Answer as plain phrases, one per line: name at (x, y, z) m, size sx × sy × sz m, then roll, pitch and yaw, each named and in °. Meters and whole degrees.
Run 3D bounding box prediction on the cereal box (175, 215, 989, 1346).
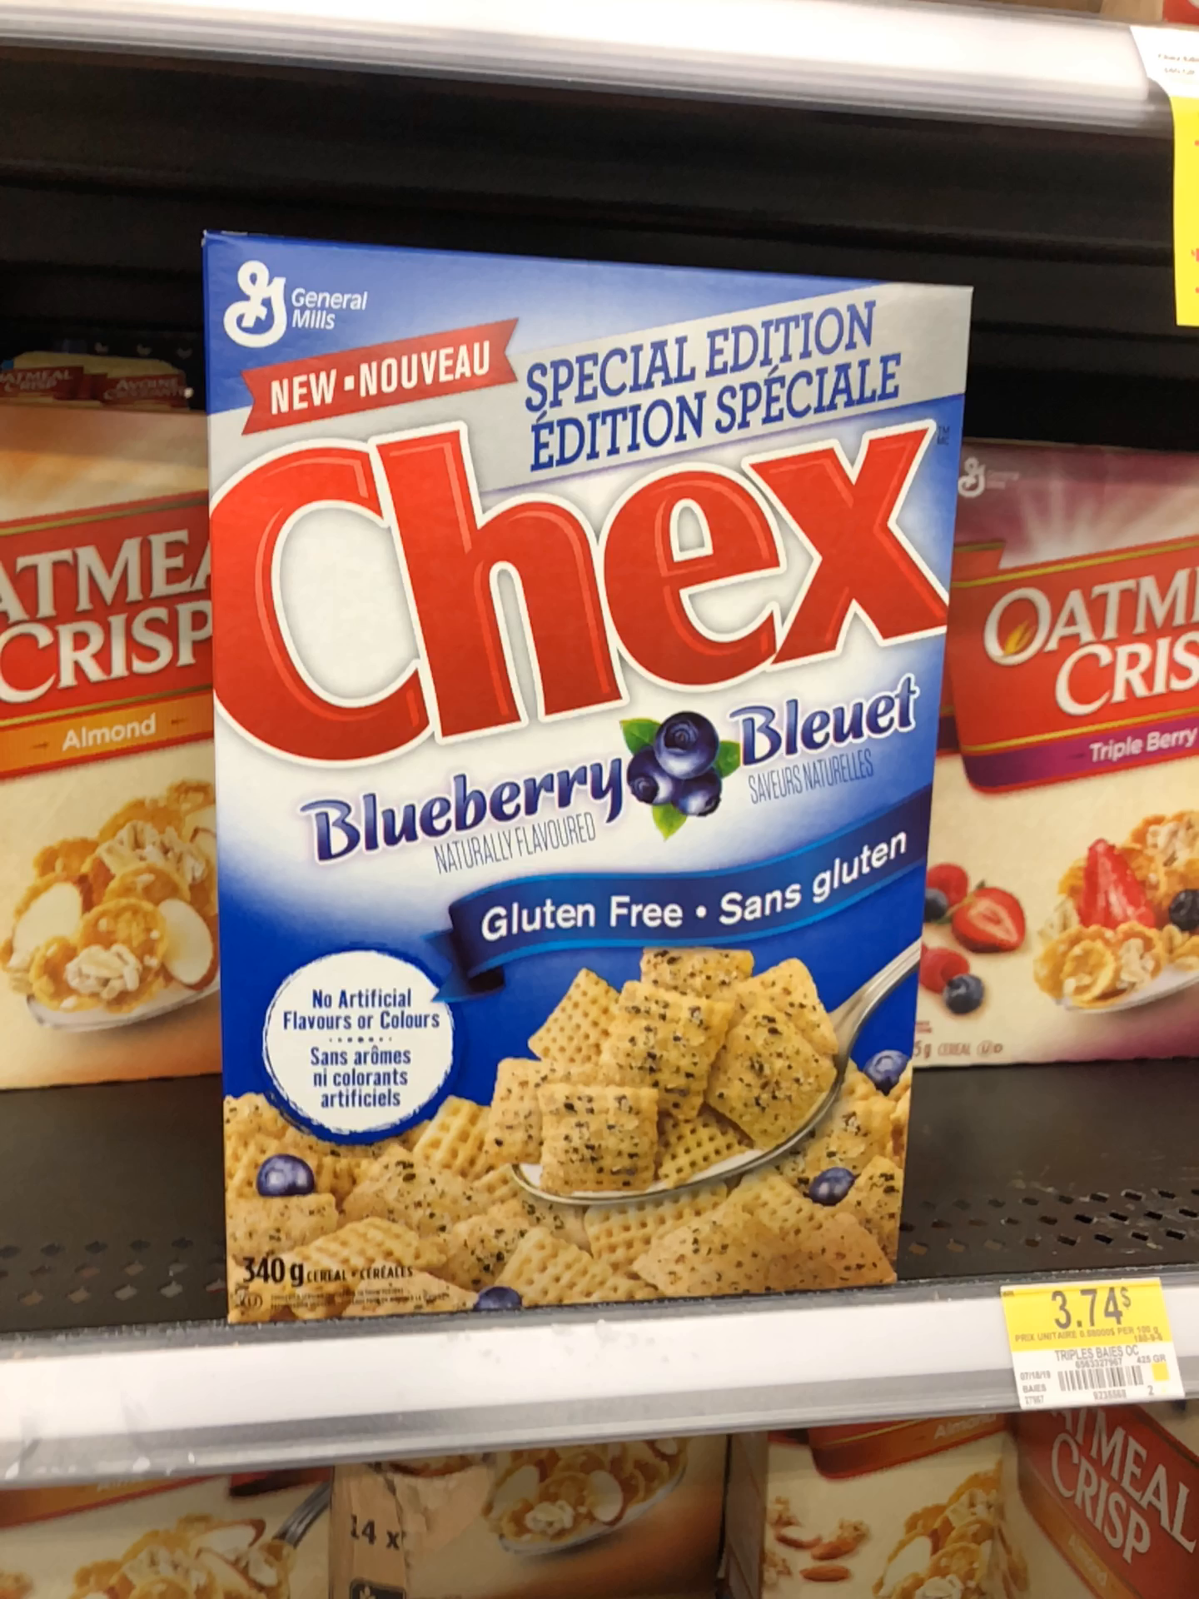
cereal box at (-0.009, 0.001, 0.379) m, size 0.200 × 0.289 × 0.060 m, roll 0°, pitch 11°, yaw -9°
